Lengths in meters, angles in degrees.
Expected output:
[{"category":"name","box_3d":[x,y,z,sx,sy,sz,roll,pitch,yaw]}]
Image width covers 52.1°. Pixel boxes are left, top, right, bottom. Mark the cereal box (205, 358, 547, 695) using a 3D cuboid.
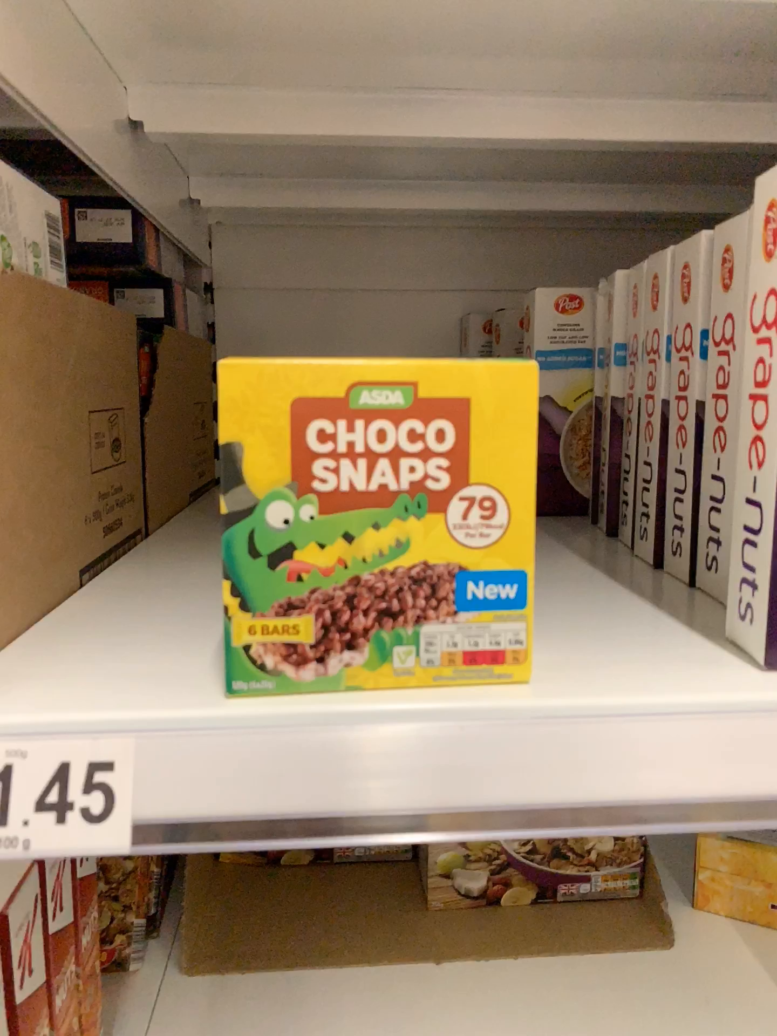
[{"category":"cereal box","box_3d":[-0.007,-0.002,0.344,0.130,0.130,0.070,-1,8,-7]}]
